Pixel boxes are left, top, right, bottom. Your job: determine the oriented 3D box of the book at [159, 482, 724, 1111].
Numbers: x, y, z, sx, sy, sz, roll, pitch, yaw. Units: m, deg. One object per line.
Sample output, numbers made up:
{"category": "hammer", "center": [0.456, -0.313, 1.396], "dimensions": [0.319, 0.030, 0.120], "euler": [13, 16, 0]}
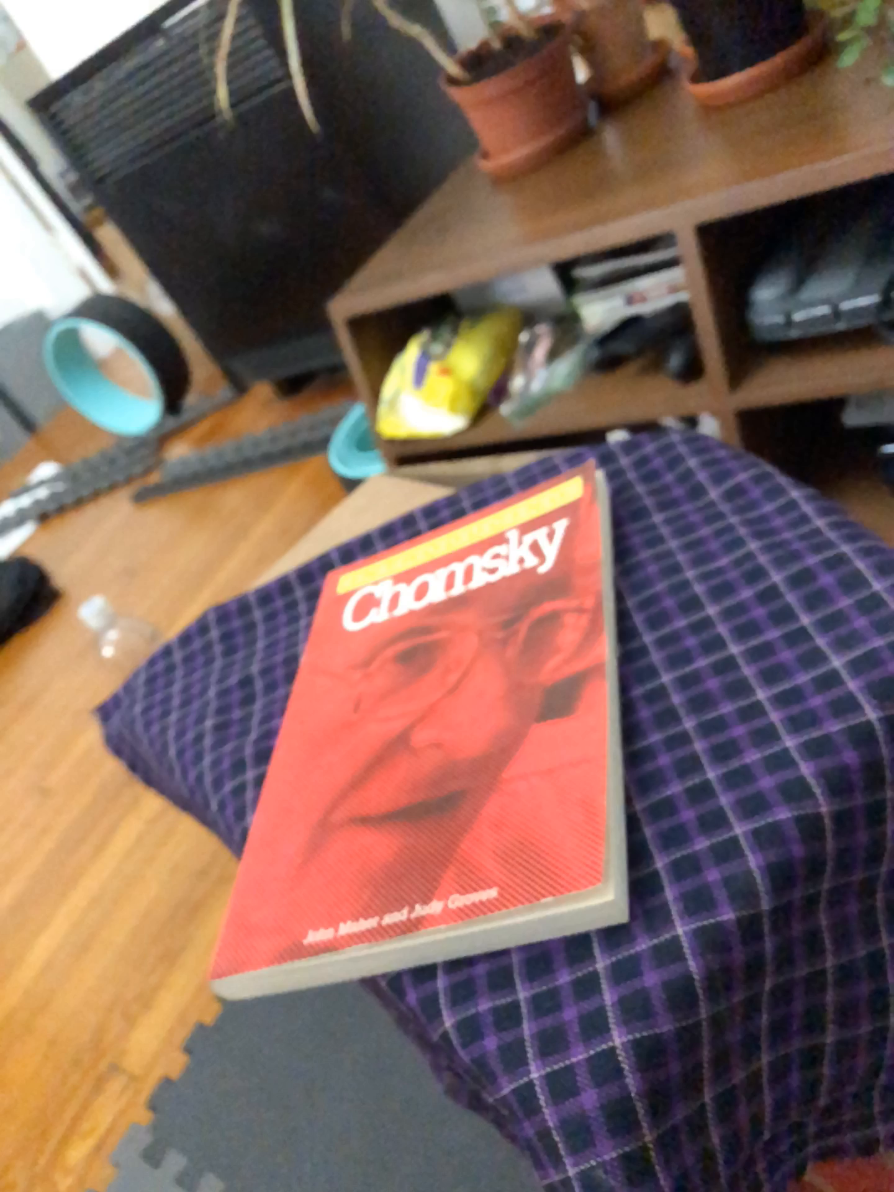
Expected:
{"category": "book", "center": [0.002, 0.061, 0.390], "dimensions": [0.180, 0.020, 0.241], "euler": [-20, 34, 22]}
